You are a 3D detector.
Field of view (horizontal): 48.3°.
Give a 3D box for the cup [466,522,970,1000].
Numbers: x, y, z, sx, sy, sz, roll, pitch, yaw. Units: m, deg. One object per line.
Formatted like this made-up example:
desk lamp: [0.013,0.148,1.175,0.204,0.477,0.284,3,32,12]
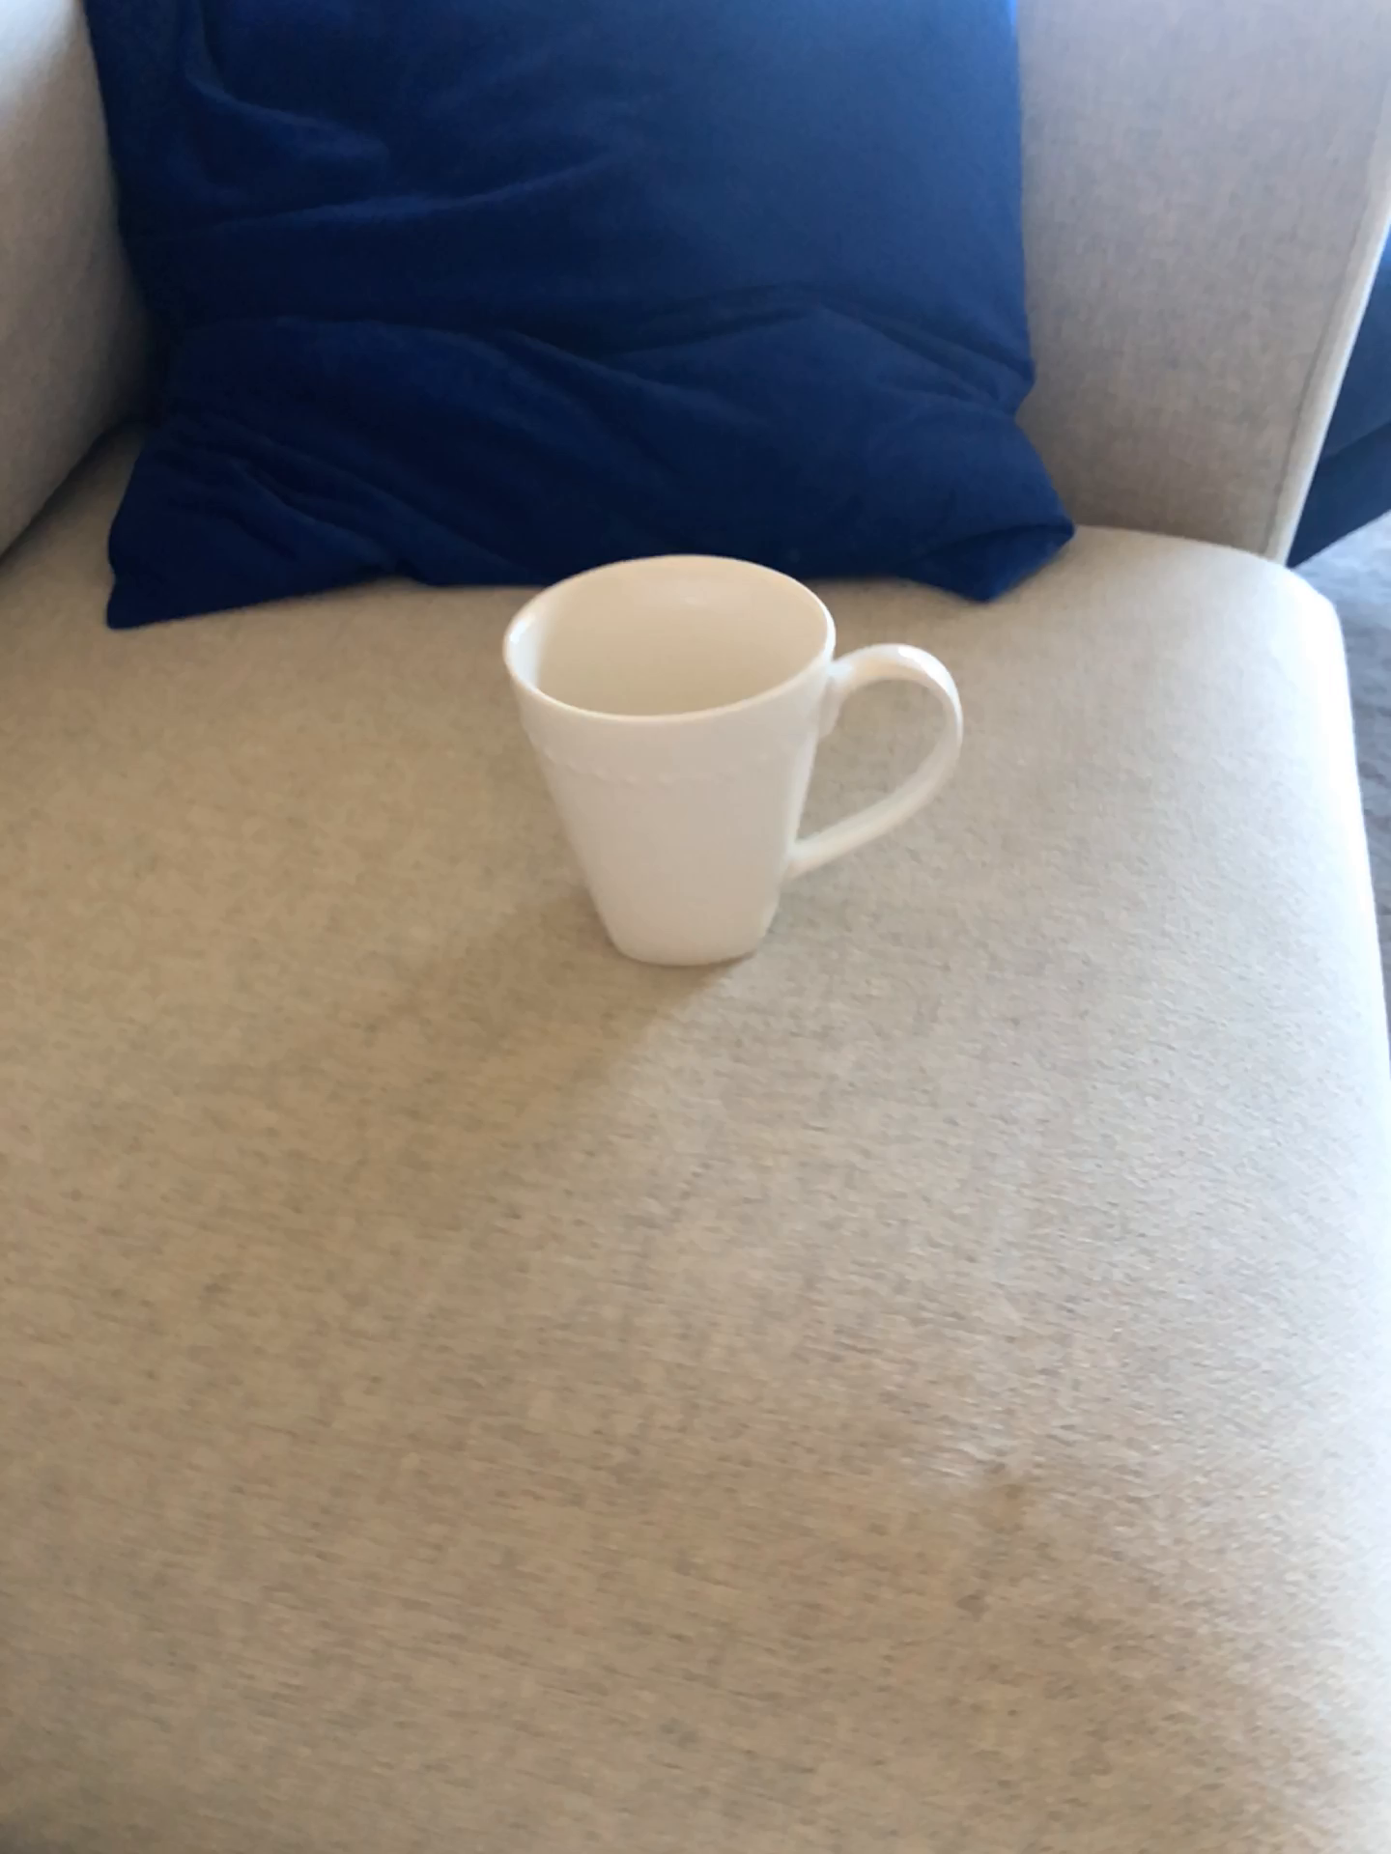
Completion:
cup: [0.010,-0.053,0.472,0.130,0.090,0.100,8,39,6]
